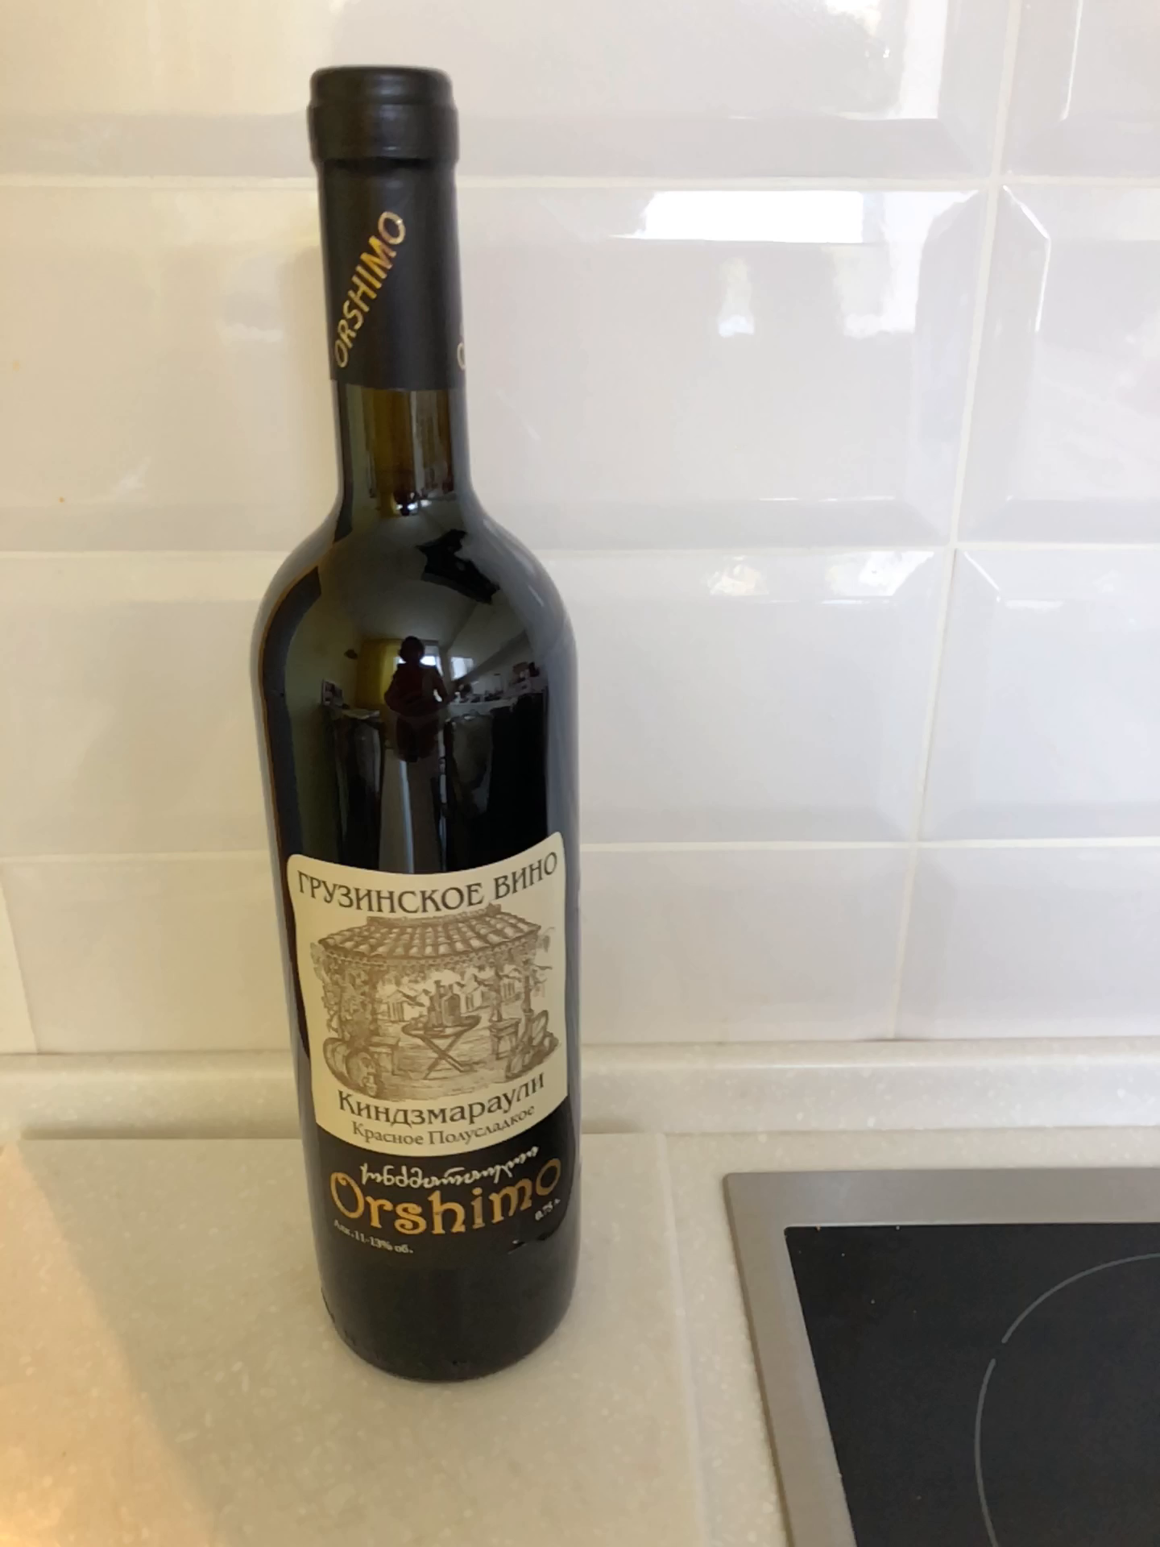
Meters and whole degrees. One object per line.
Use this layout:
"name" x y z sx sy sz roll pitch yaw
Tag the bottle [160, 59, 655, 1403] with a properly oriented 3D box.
"bottle" -0.033 0.004 0.305 0.080 0.298 0.080 0 24 0
